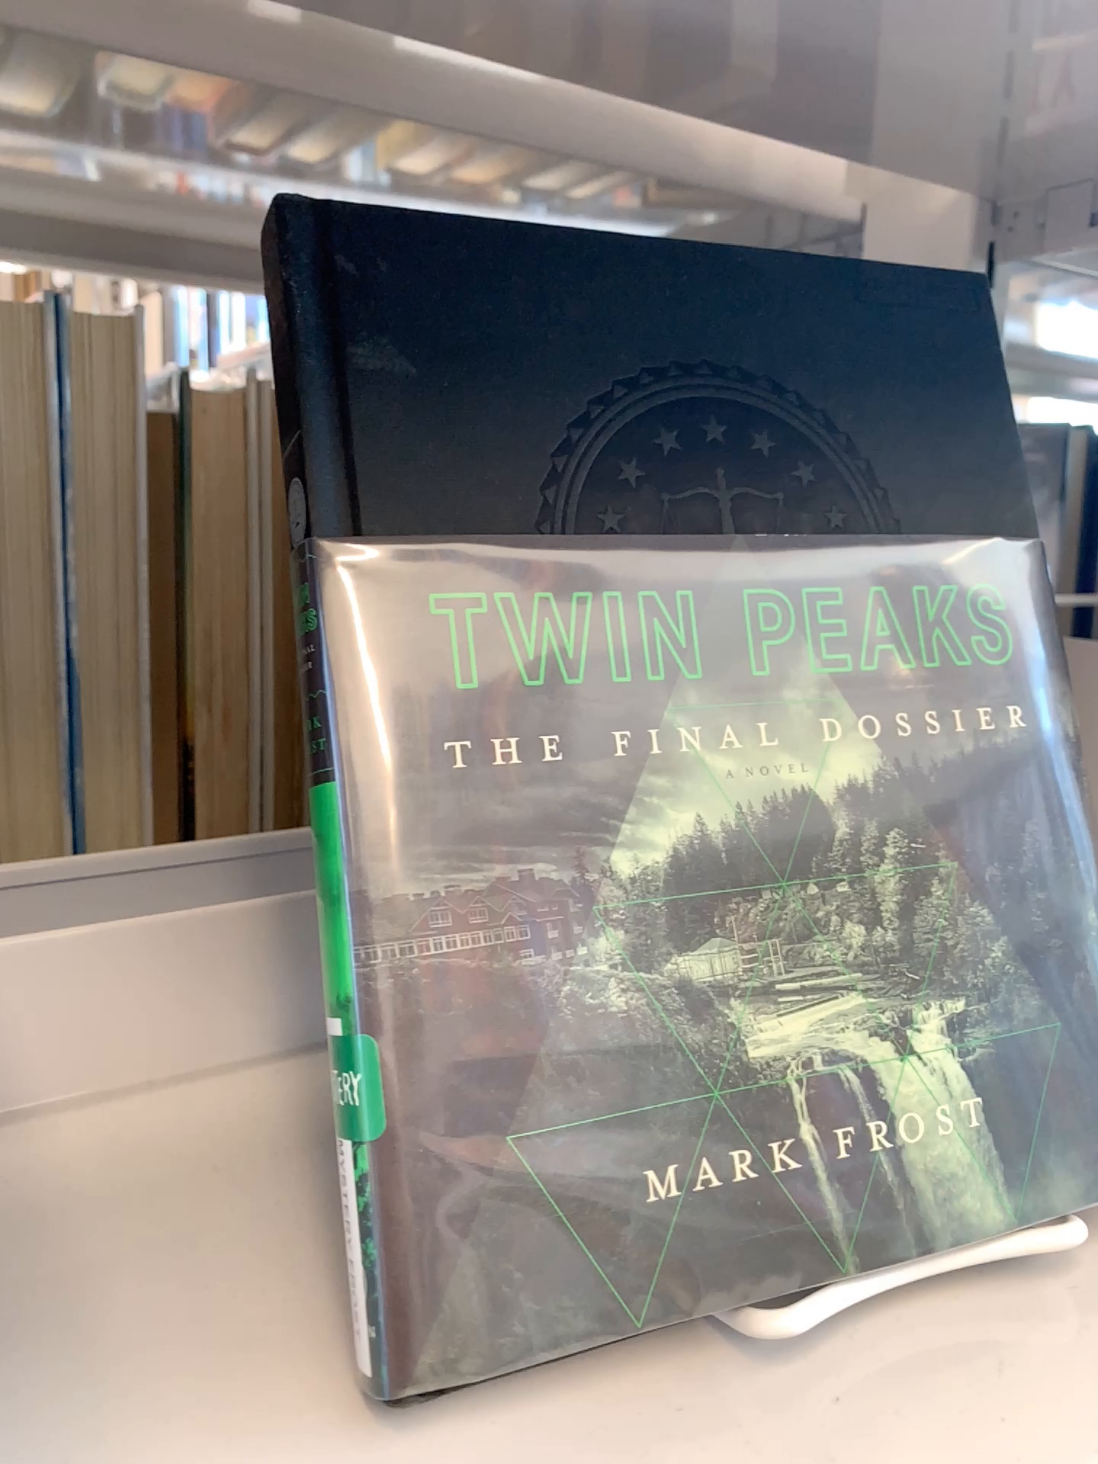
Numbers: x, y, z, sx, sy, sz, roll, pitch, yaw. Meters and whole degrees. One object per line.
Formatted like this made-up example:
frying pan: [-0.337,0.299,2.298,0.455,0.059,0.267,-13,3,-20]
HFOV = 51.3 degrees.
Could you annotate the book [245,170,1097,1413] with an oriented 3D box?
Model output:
book: [0.039,0.000,0.253,0.190,0.228,0.020,-3,-7,-22]
